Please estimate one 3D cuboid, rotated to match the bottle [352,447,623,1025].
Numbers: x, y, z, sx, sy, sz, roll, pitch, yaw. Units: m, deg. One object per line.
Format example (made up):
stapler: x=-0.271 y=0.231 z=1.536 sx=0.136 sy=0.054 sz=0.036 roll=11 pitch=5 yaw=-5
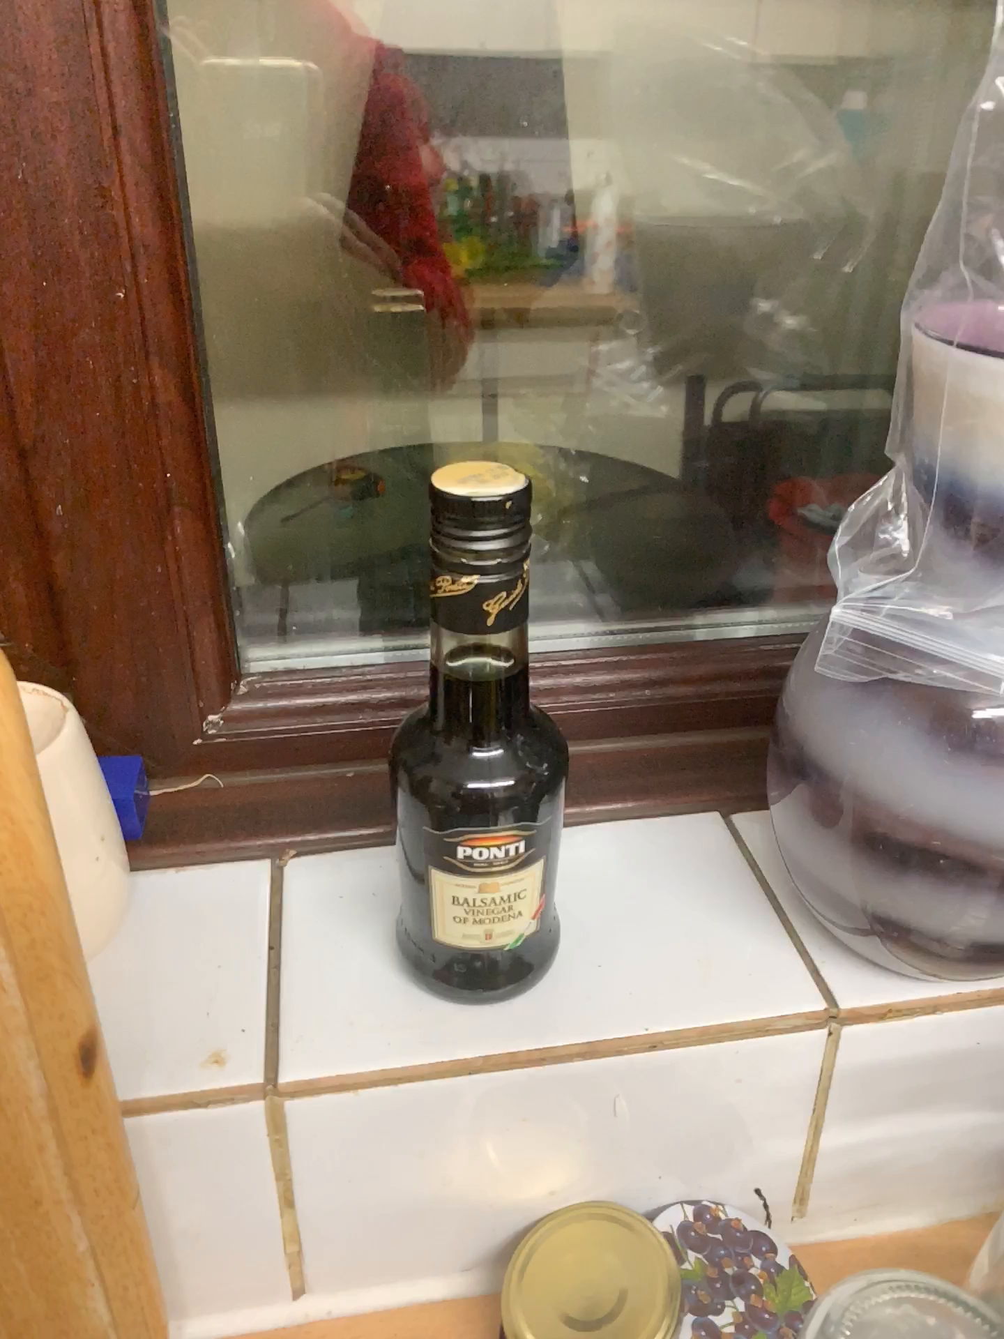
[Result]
bottle: x=-0.009 y=0.024 z=0.347 sx=0.070 sy=0.178 sz=0.071 roll=1 pitch=29 yaw=0
